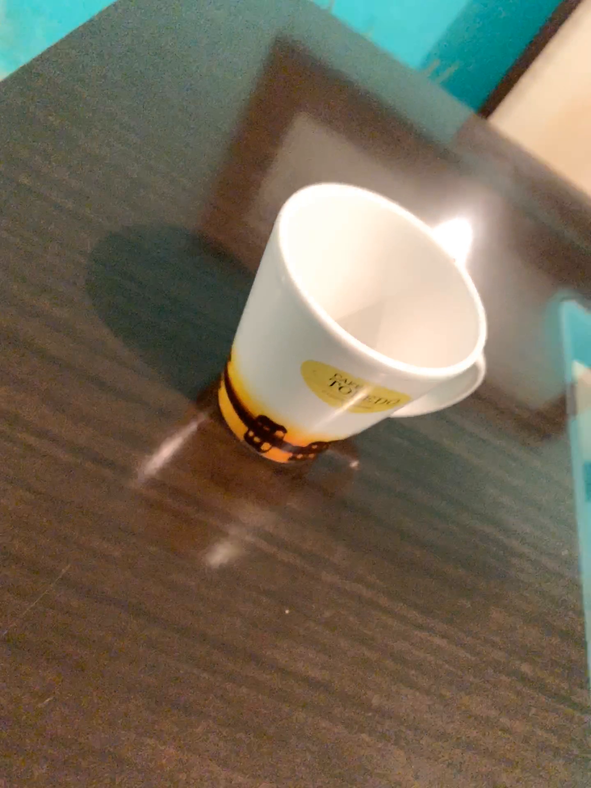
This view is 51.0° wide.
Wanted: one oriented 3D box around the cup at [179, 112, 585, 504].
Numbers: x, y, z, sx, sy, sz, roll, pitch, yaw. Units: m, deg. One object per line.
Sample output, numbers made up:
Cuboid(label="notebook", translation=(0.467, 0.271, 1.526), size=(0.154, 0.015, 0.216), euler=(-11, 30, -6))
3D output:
Cuboid(label="cup", translation=(0.025, -0.024, 0.233), size=(0.110, 0.080, 0.090), euler=(14, 52, -24))
